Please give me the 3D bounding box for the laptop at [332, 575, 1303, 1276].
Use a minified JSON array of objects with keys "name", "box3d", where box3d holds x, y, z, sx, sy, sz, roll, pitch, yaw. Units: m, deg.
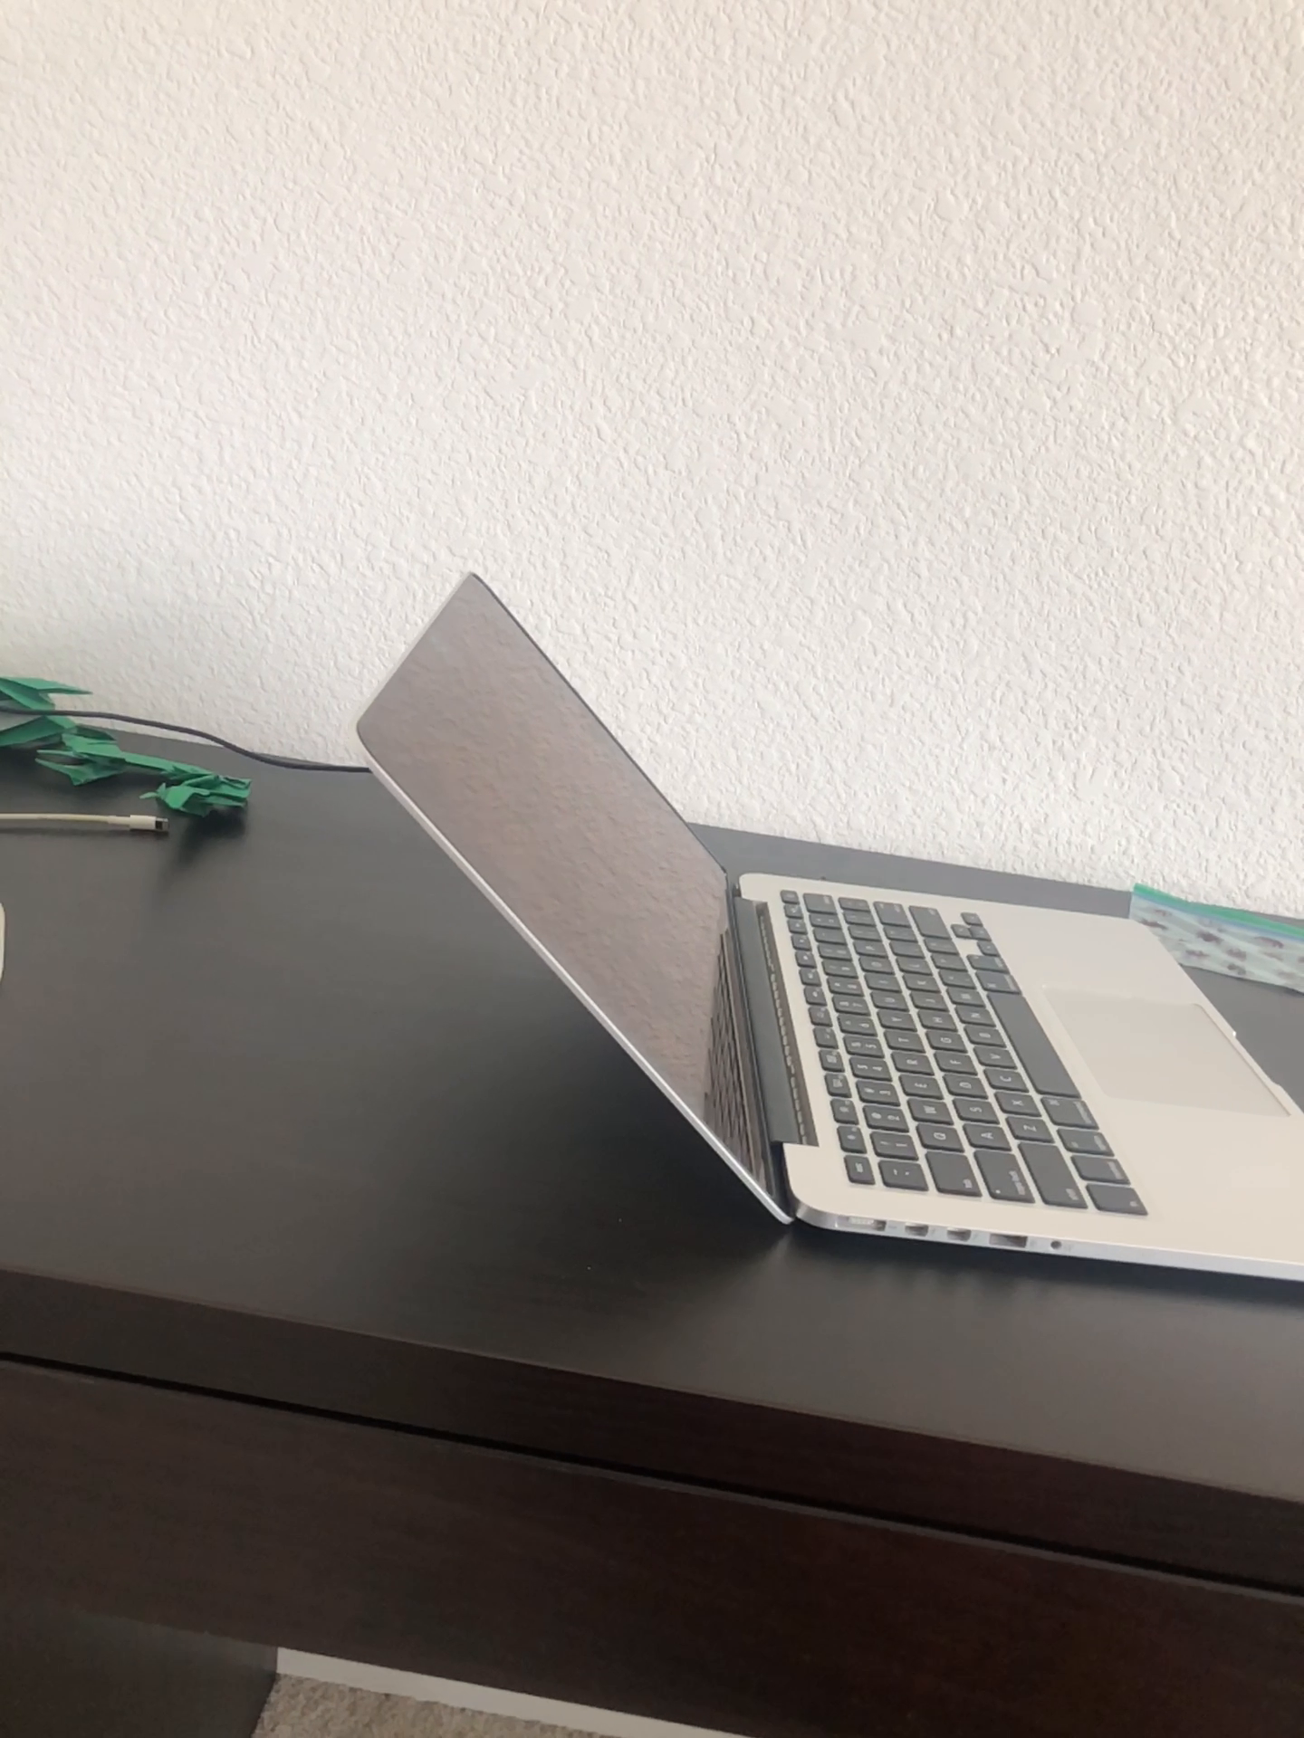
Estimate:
[{"name":"laptop","box3d":[0.085,-0.006,0.590,0.362,0.133,0.310,7,20,-2]}]
